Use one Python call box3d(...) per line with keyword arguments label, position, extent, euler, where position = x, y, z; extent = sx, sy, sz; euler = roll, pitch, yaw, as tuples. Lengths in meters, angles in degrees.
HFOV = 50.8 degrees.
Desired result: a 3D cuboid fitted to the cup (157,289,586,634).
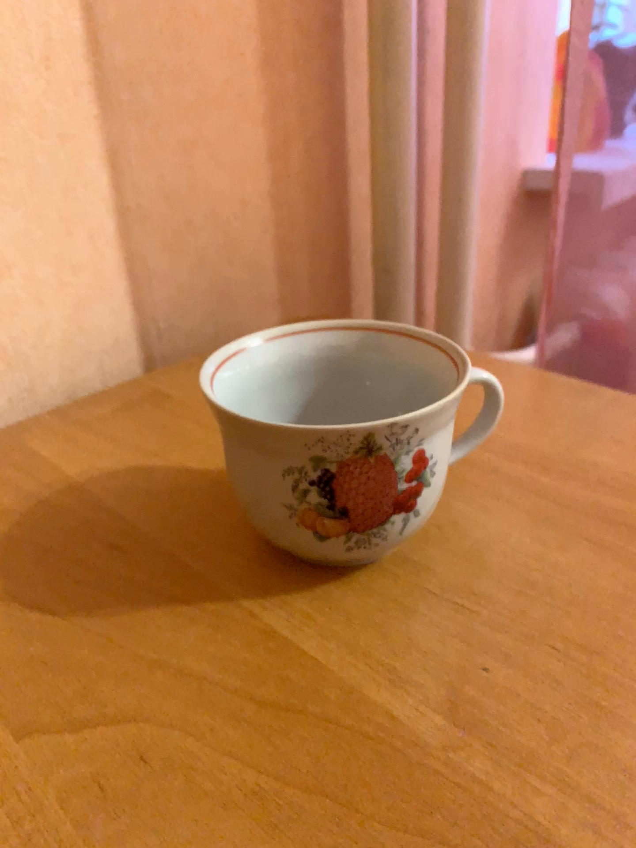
box3d(label="cup", position=(0.016, 0.002, 0.226), extent=(0.109, 0.056, 0.083), euler=(-18, 31, -25))
